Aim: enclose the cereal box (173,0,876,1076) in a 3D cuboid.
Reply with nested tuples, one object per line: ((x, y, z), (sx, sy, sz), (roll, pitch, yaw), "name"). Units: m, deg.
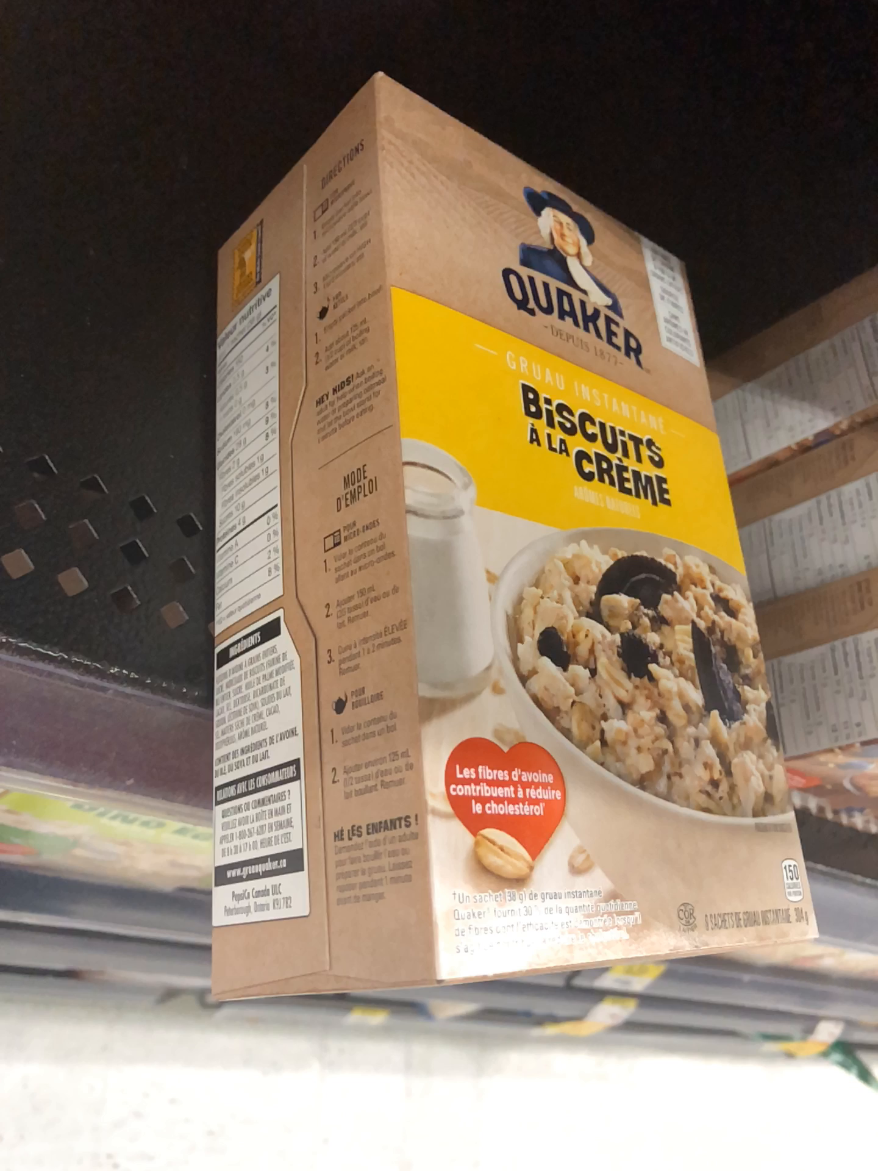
((0.018, -0.008, 0.242), (0.141, 0.070, 0.210), (13, 65, -39), "cereal box")
